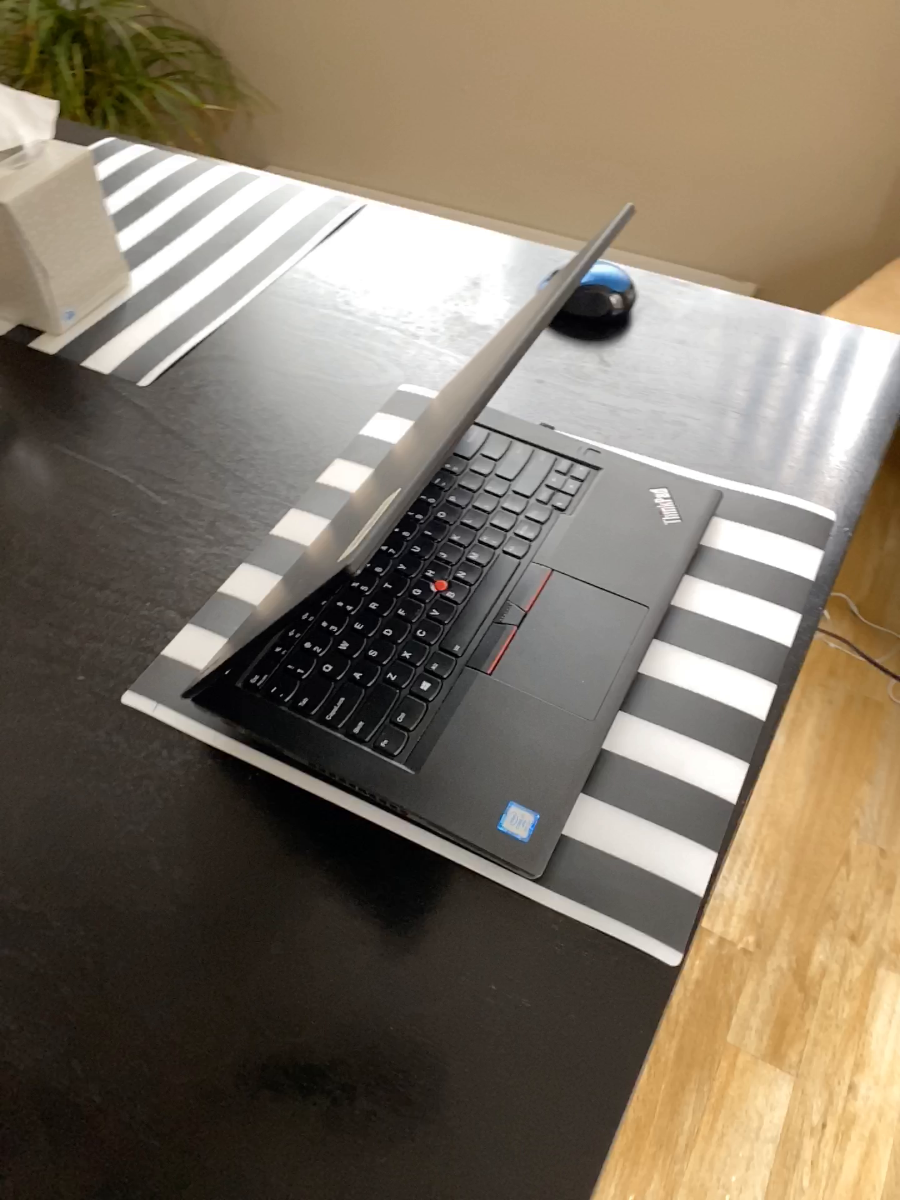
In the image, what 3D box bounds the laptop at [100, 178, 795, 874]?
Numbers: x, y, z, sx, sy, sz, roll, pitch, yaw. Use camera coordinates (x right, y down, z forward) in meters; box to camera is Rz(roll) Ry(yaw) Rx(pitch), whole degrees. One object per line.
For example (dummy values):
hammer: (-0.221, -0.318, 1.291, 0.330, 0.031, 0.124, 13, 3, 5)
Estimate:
laptop: (0.023, -0.065, 0.522, 0.220, 0.175, 0.322, 21, 53, 18)
